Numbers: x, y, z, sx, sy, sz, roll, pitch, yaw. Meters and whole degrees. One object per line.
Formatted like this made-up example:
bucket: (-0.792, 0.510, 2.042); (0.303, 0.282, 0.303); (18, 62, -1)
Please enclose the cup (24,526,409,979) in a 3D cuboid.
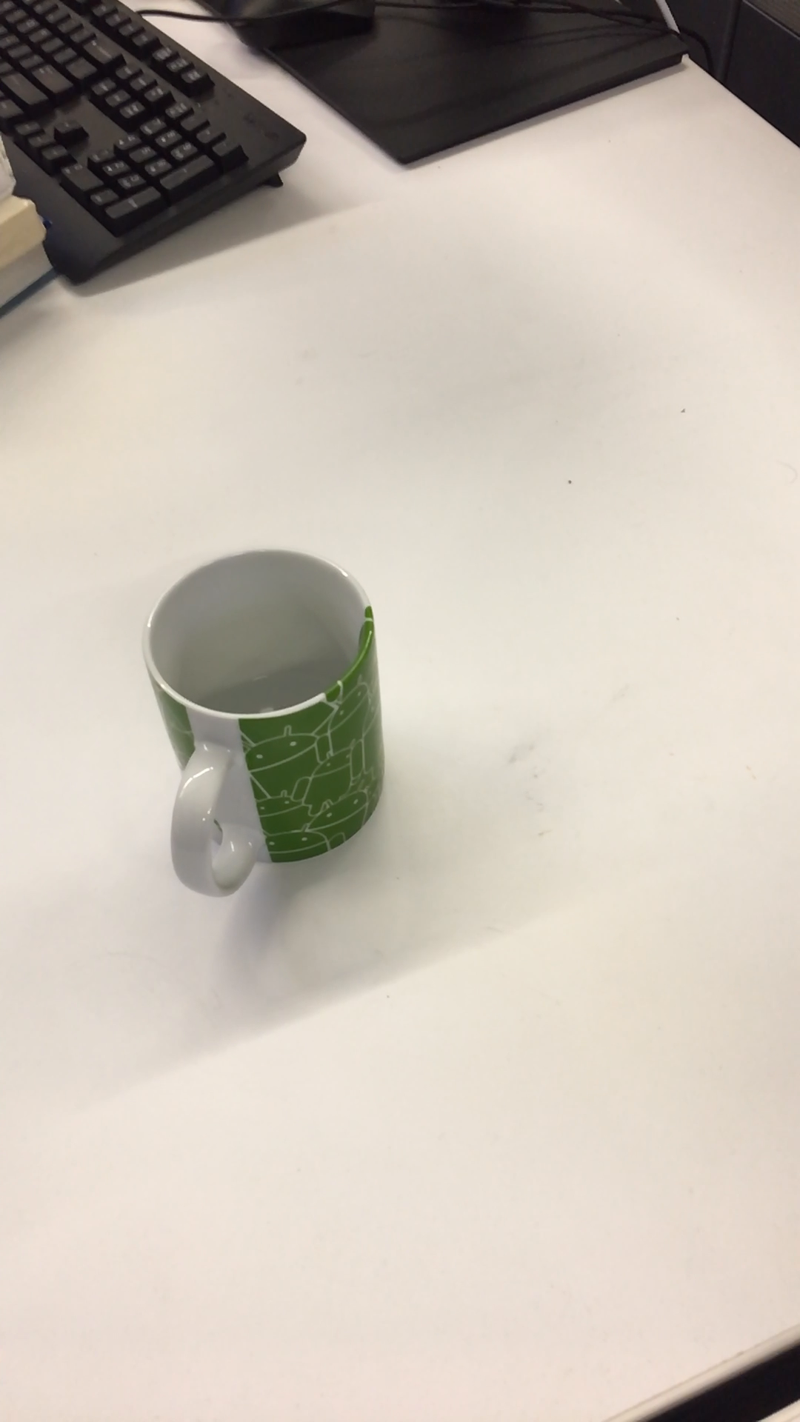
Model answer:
cup: (-0.056, 0.014, 0.427); (0.090, 0.090, 0.120); (10, 54, 10)
